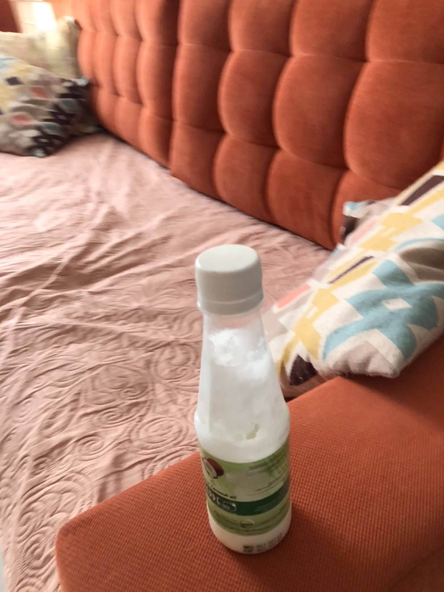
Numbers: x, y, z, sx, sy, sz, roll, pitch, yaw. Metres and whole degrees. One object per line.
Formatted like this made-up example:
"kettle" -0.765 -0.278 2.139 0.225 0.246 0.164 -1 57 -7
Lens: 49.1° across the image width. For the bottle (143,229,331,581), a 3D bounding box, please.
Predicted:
"bottle" 0.010 0.064 0.266 0.060 0.179 0.060 -2 32 1
